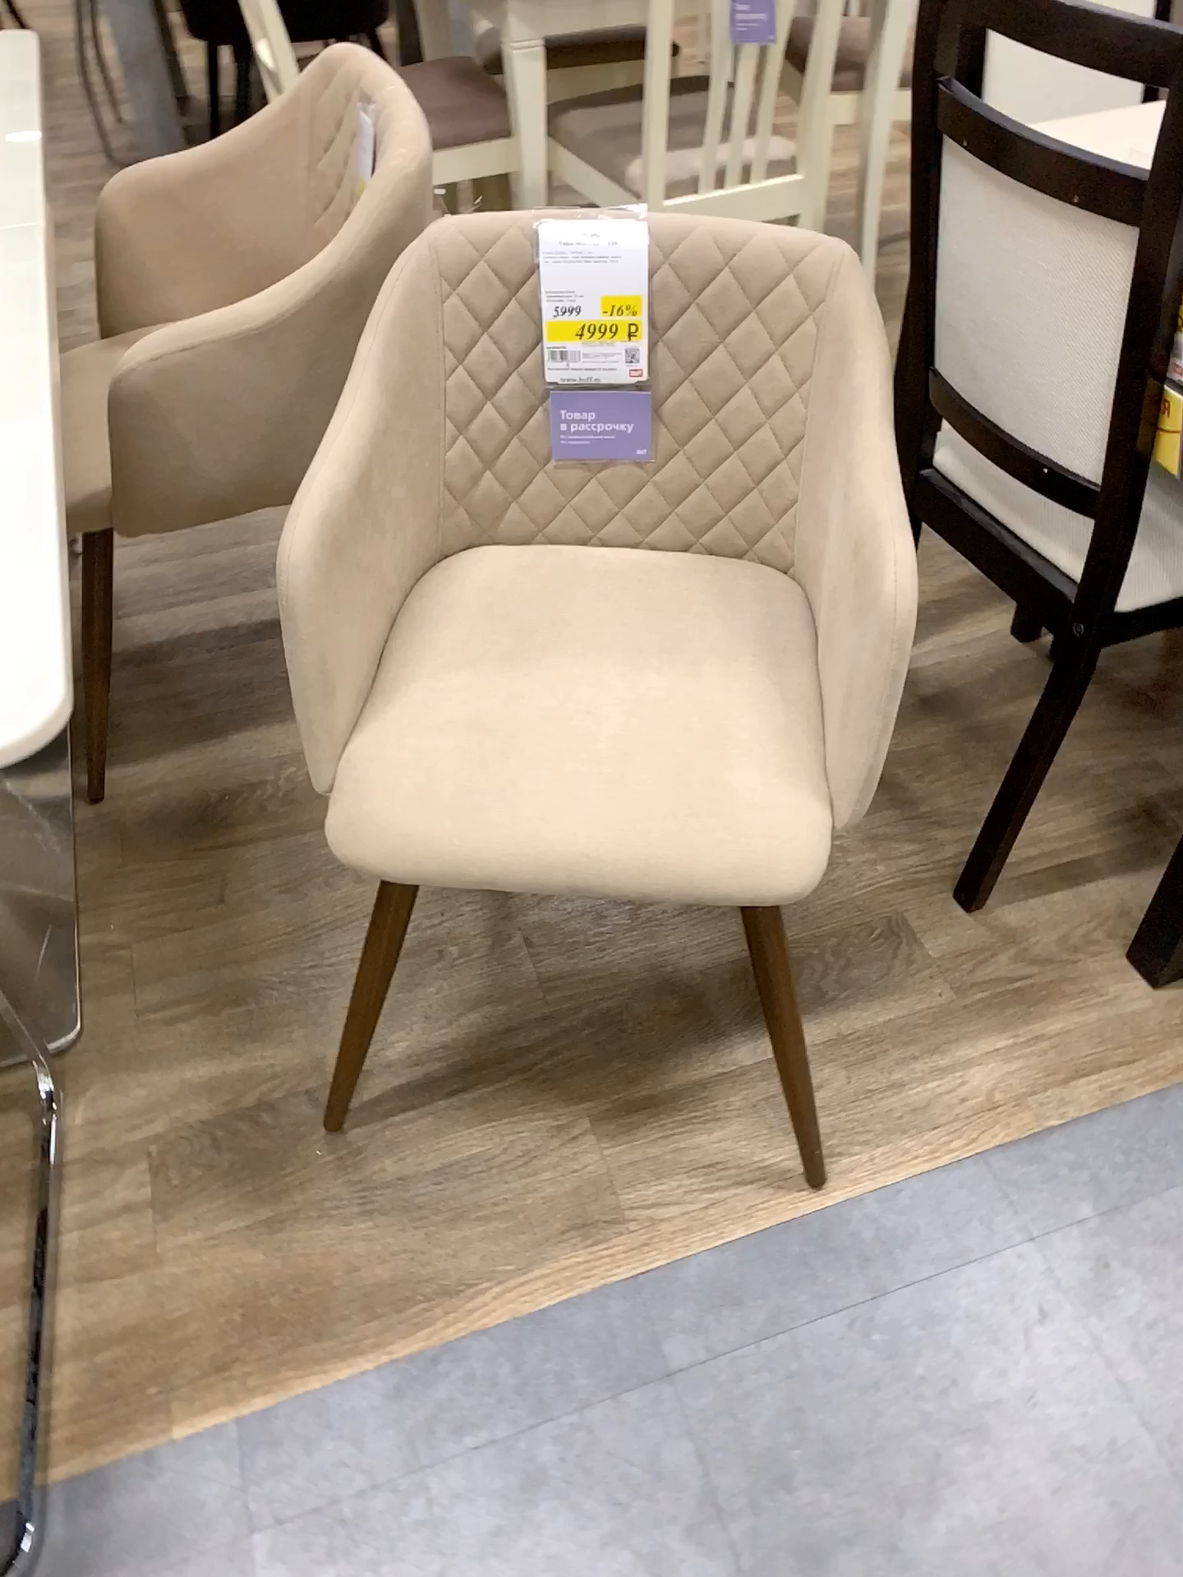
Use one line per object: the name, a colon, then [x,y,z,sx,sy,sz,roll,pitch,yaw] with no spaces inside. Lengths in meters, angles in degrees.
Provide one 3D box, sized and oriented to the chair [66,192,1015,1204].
chair: [0.001,-0.066,1.251,0.600,0.836,0.573,4,45,6]
